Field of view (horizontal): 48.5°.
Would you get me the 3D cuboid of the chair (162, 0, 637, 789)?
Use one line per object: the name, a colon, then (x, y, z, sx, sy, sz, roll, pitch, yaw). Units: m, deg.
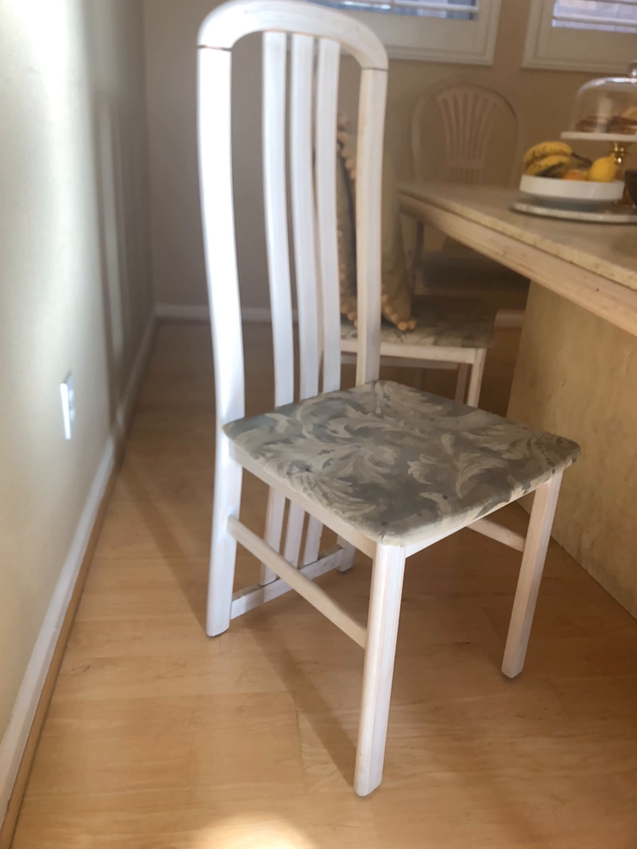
chair: (0.145, -0.152, 1.516, 0.633, 1.450, 0.671, -15, 27, -37)
